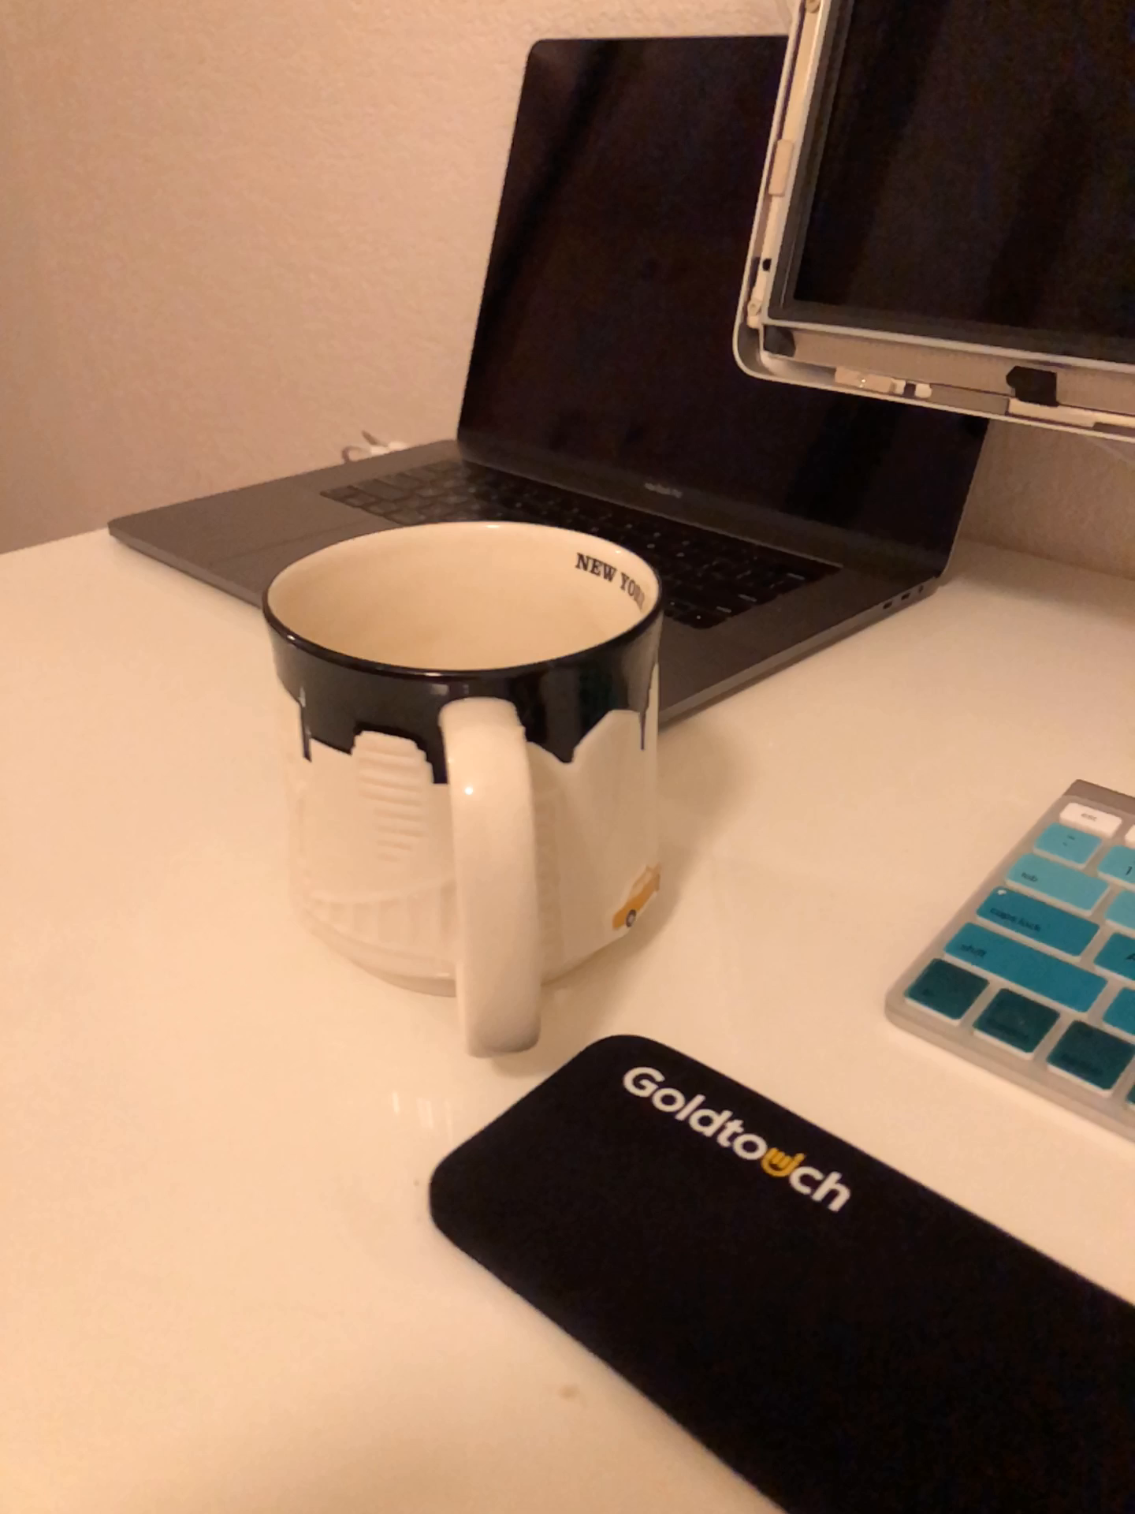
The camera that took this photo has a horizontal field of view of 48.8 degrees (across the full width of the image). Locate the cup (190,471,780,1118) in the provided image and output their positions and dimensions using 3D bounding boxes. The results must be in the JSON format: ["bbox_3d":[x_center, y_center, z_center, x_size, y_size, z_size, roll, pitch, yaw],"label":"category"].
[{"bbox_3d":[-0.031,-0.005,0.324,0.110,0.089,0.151,-8,30,-15],"label":"cup"}]
